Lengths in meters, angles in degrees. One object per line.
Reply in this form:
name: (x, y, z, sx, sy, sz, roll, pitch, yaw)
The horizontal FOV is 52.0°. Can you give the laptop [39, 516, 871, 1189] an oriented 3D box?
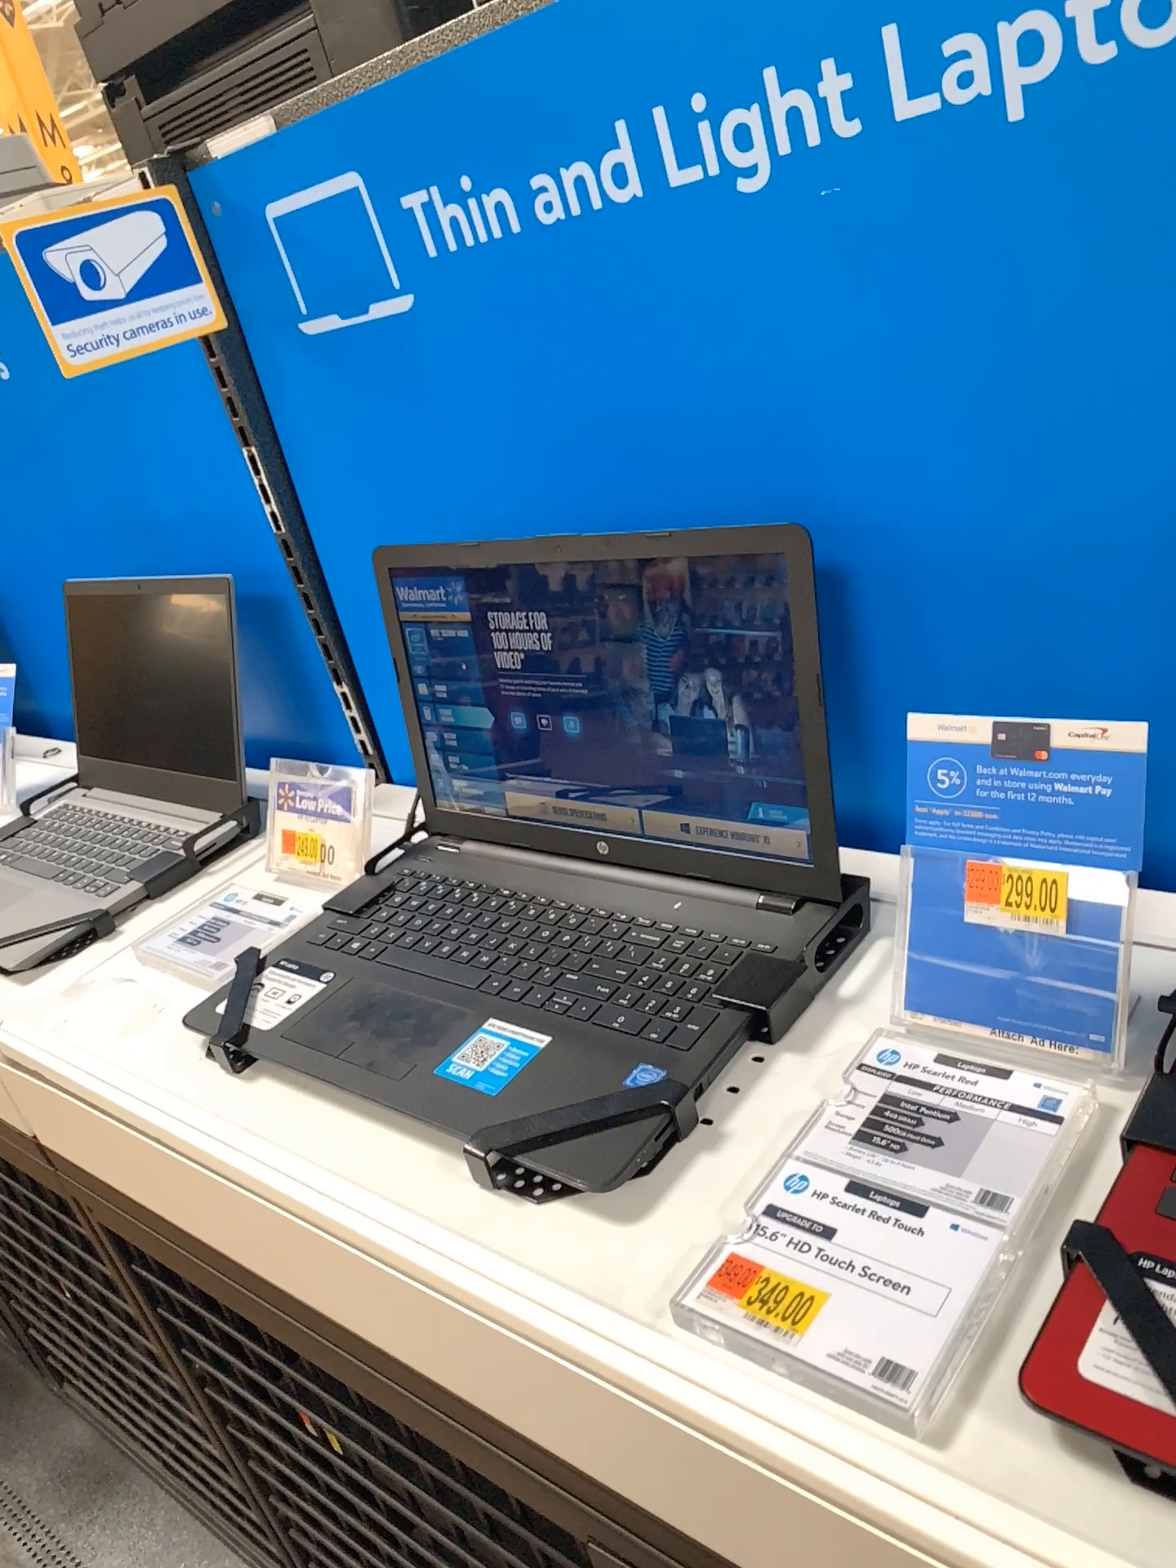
laptop: (-0.075, 0.006, 0.733, 0.364, 0.225, 0.286, 6, 33, 40)
